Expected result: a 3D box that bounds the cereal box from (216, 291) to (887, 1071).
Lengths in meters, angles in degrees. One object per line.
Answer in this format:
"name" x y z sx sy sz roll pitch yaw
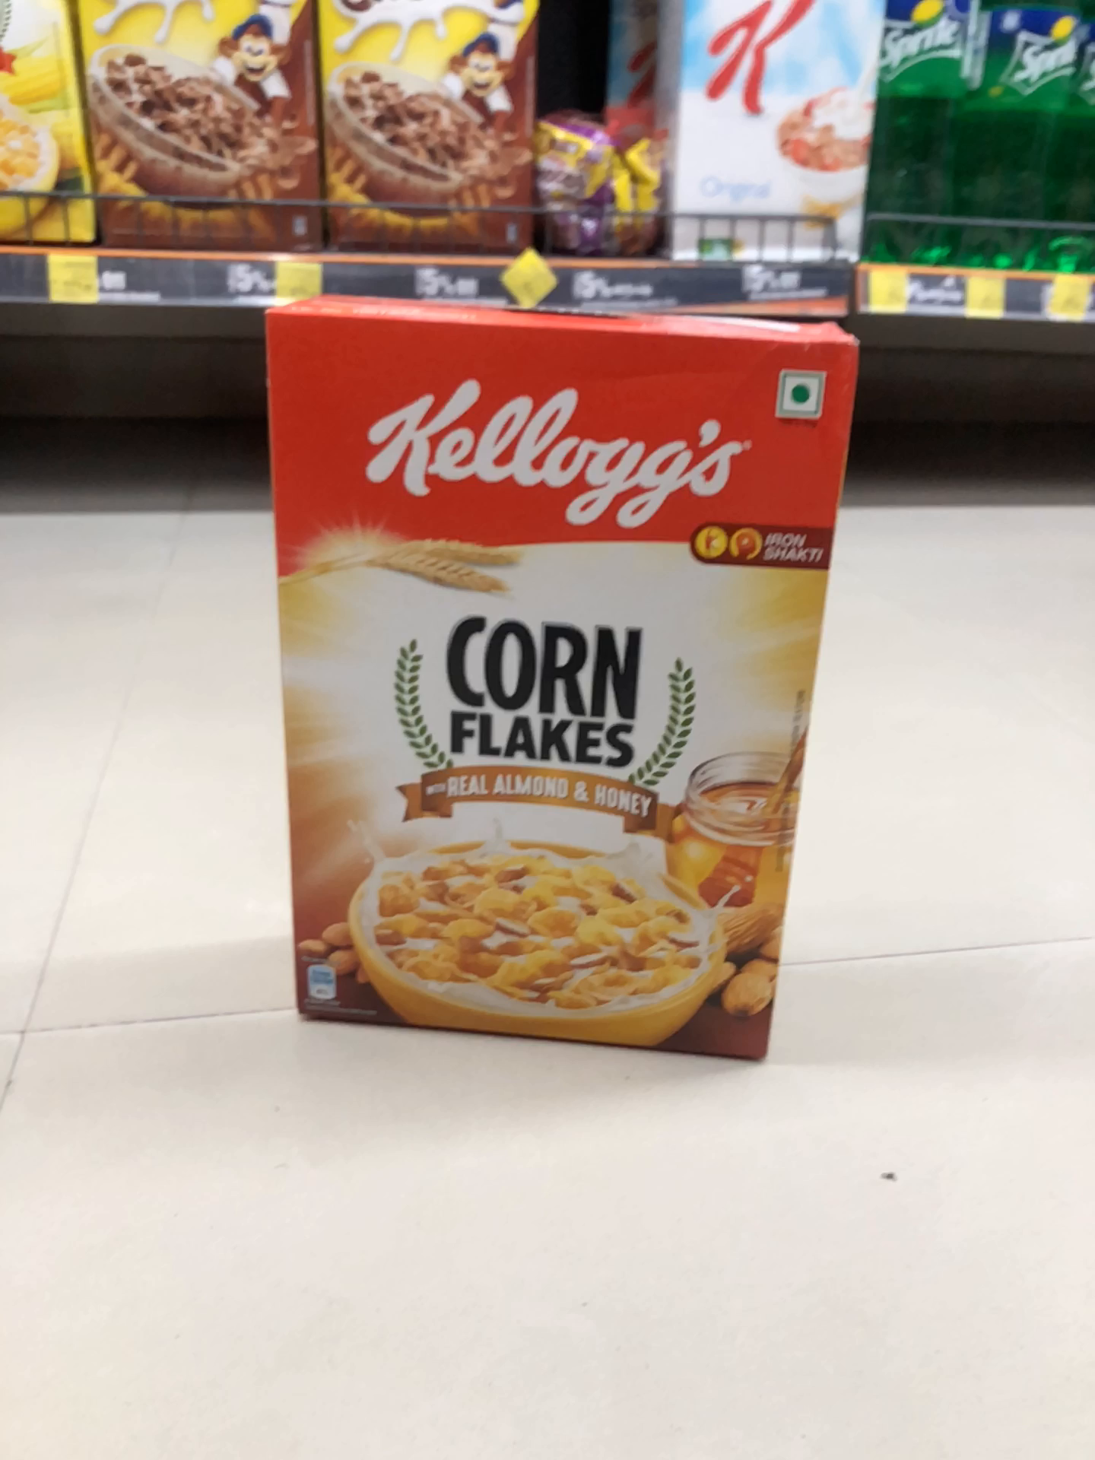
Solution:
"cereal box" -0.002 -0.014 0.424 0.190 0.249 0.070 4 24 4
